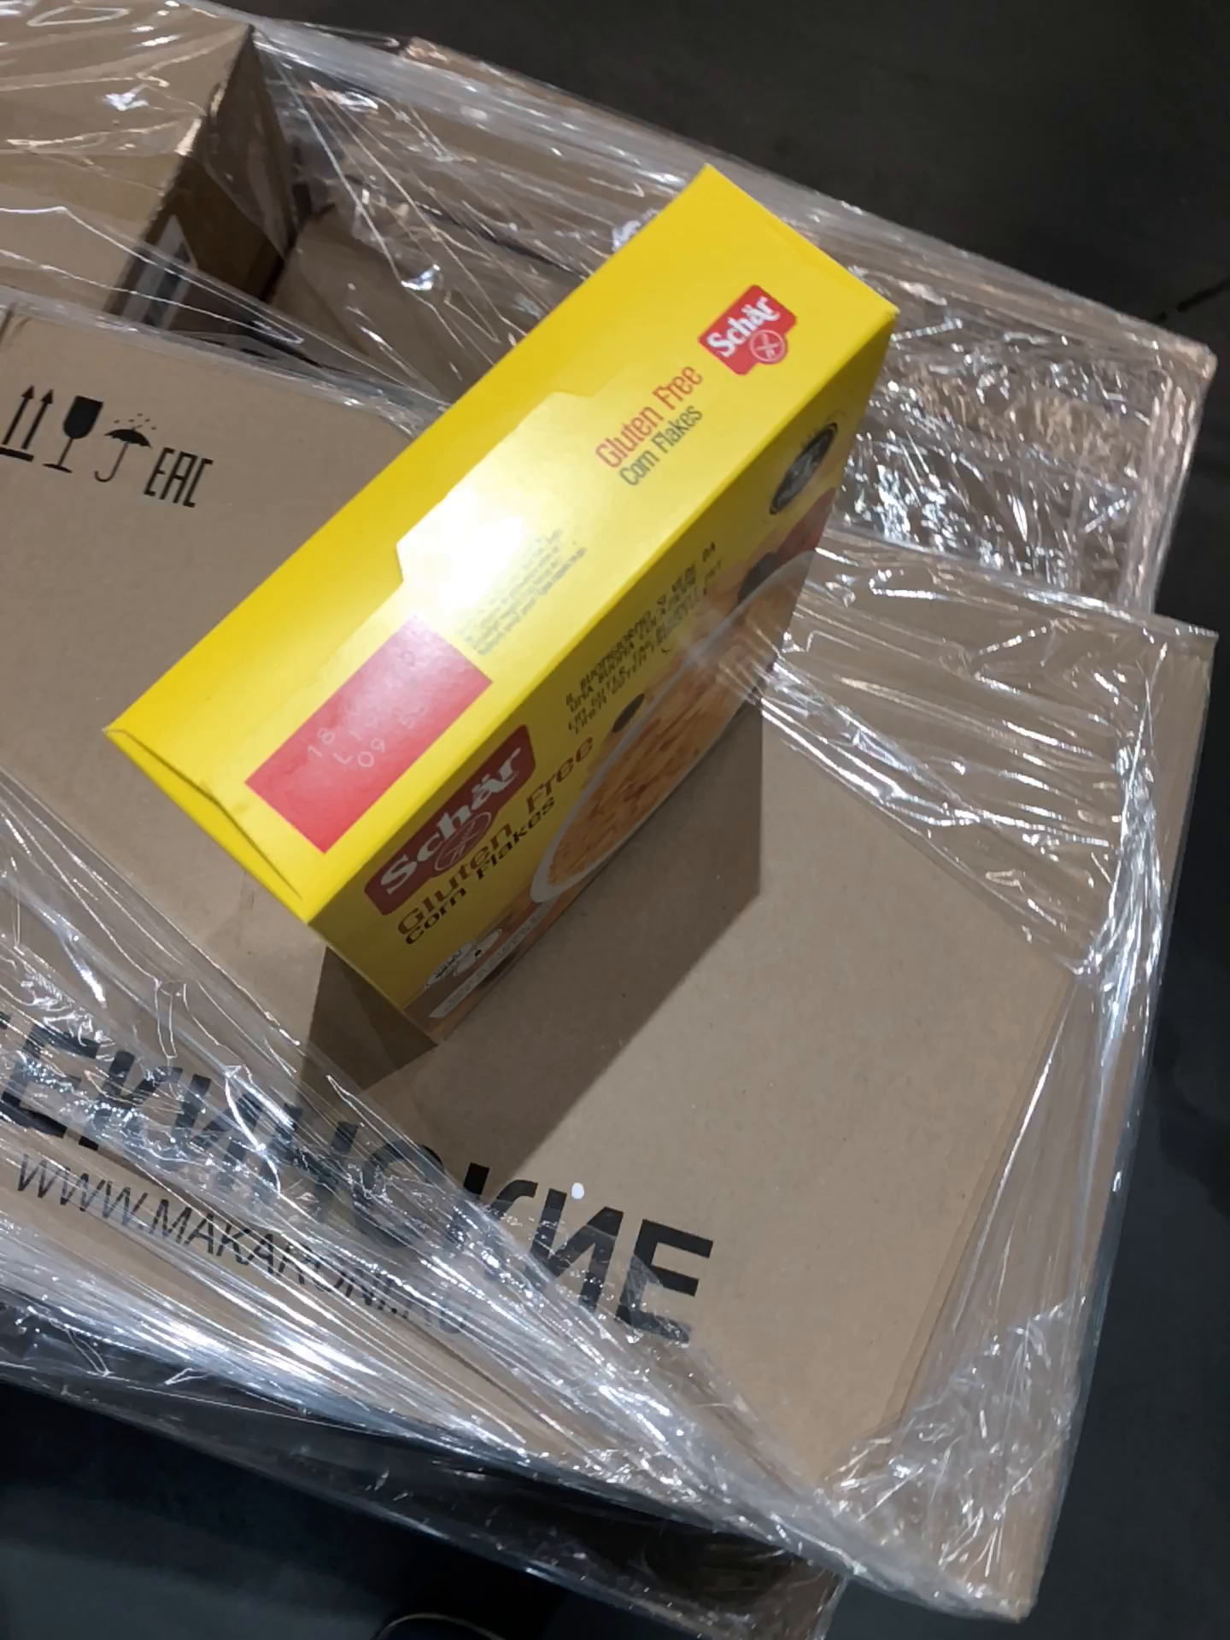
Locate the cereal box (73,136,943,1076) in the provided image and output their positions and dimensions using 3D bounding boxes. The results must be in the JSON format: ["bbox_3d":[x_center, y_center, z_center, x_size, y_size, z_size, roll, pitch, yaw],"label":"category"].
[{"bbox_3d":[-0.020,-0.031,0.401,0.060,0.250,0.200,41,77,9],"label":"cereal box"}]
